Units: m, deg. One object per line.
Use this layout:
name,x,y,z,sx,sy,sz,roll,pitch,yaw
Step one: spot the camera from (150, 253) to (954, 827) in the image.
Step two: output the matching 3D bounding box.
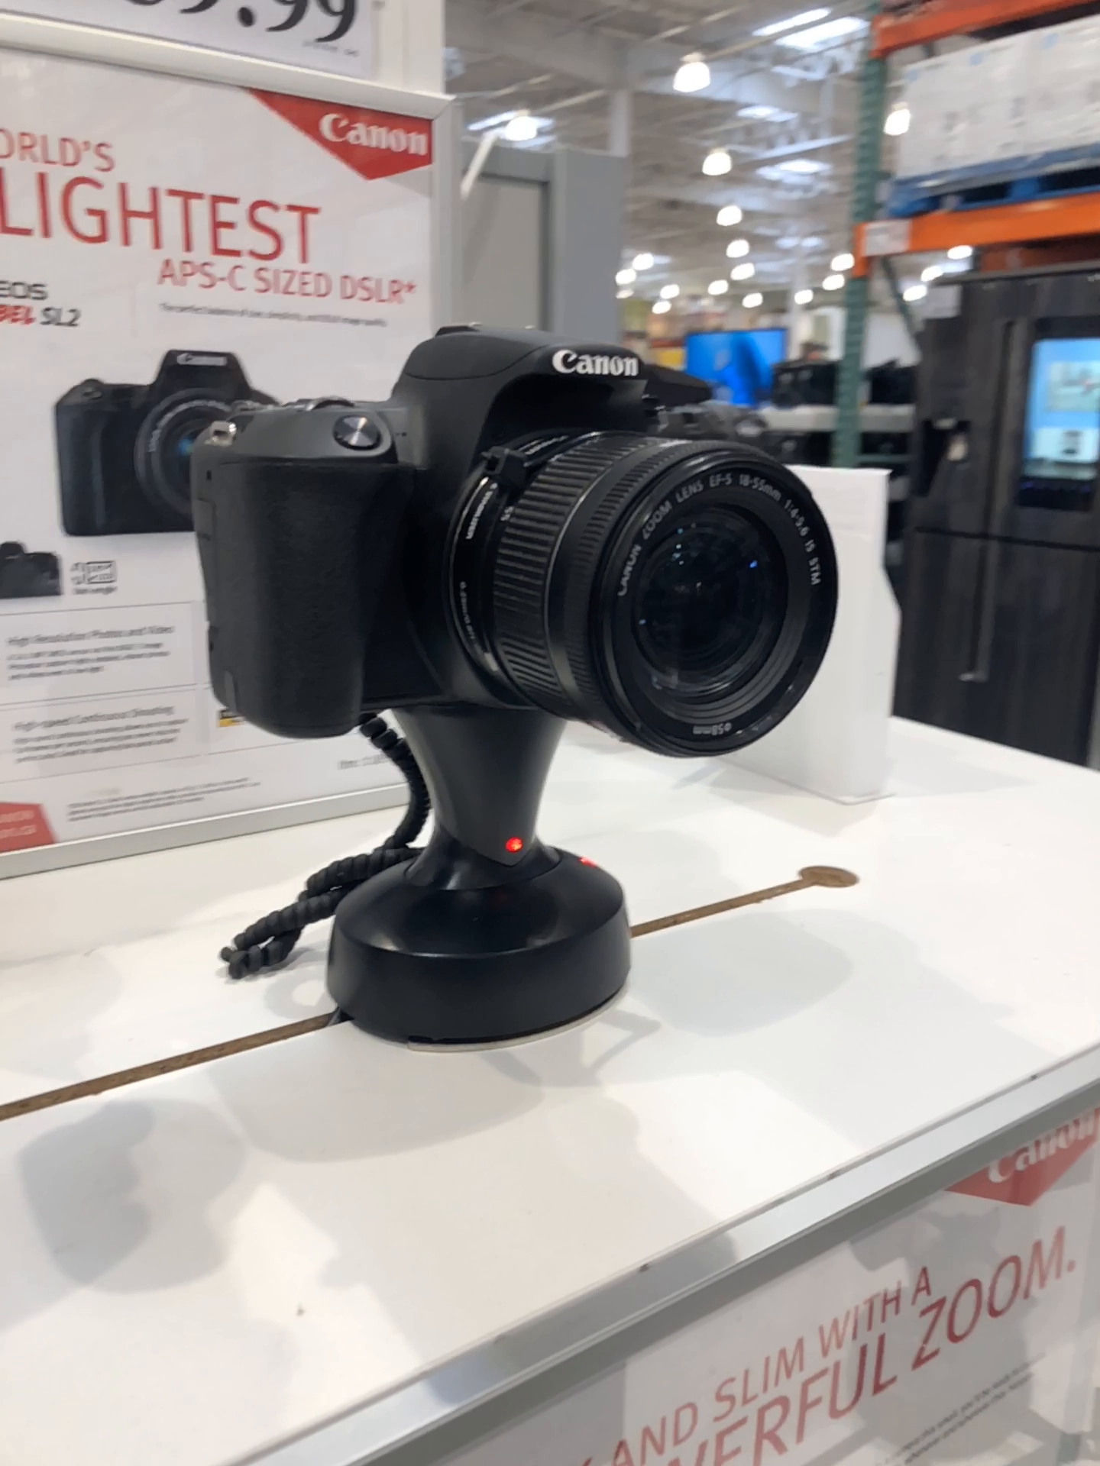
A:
camera,-0.005,-0.050,0.275,0.130,0.090,0.120,-8,18,-33
